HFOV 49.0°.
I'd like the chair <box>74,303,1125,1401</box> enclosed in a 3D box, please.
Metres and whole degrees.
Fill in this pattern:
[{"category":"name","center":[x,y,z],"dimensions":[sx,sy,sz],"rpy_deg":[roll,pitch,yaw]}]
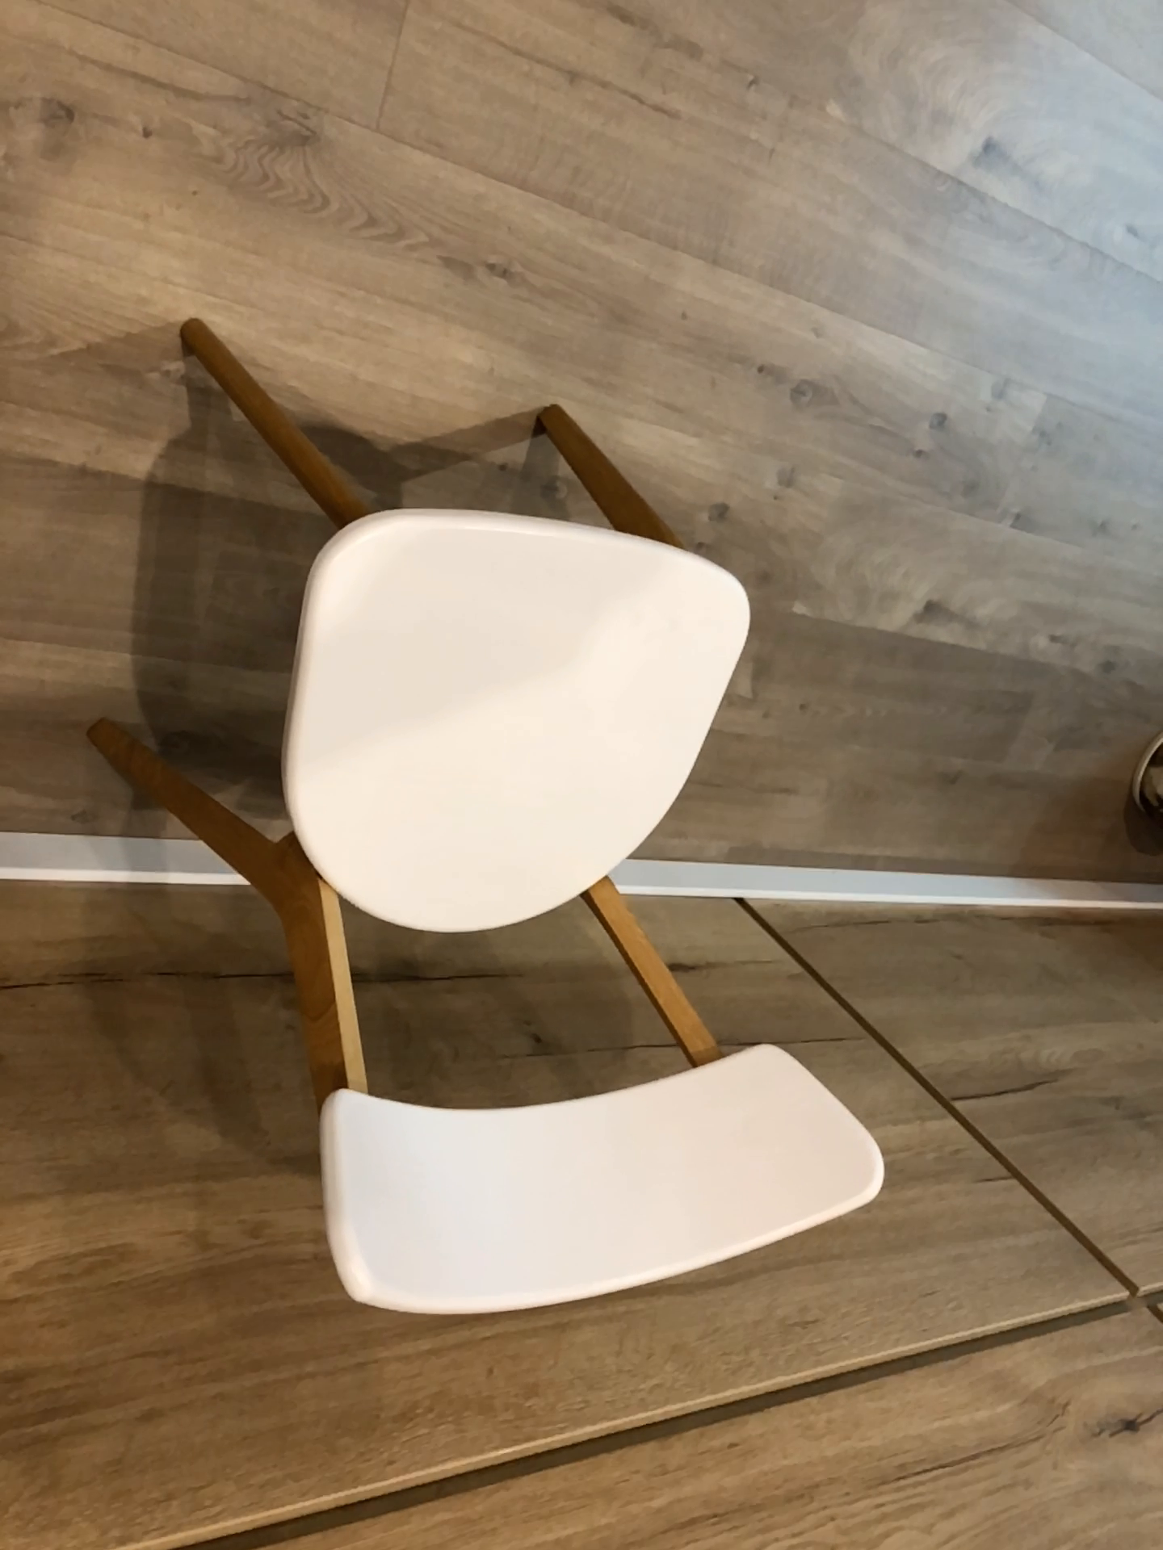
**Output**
[{"category":"chair","center":[-0.099,-0.022,1.159],"dimensions":[0.502,0.827,0.530],"rpy_deg":[1,117,-32]}]
